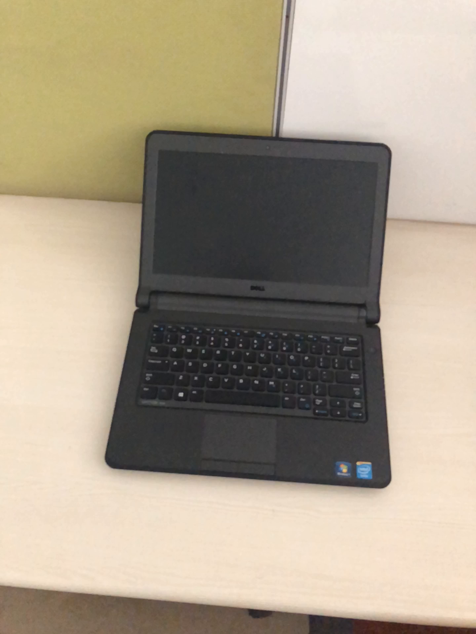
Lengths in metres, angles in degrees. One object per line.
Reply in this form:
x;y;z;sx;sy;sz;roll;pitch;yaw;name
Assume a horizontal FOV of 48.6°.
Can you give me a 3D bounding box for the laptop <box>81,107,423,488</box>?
0.025;-0.040;0.632;0.316;0.123;0.417;4;62;1;laptop
